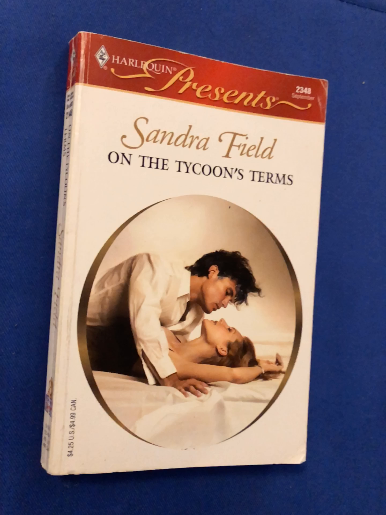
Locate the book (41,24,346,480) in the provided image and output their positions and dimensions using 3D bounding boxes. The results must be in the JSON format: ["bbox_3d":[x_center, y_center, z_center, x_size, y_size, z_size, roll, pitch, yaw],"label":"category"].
[{"bbox_3d":[0.003,0.002,0.172,0.107,0.020,0.157,4,89,-15],"label":"book"}]
